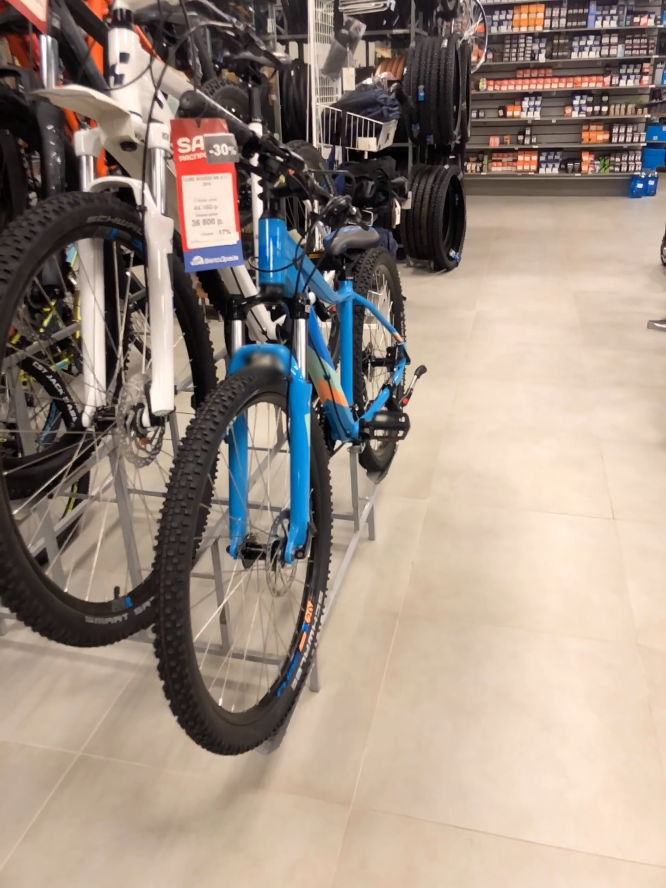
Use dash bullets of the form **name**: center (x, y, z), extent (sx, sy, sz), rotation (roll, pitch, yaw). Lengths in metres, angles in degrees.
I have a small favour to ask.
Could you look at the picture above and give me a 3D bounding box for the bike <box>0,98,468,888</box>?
- **bike**: center (-0.108, -0.178, 1.693), extent (0.630, 1.082, 1.711), rotation (5, 27, 13)
